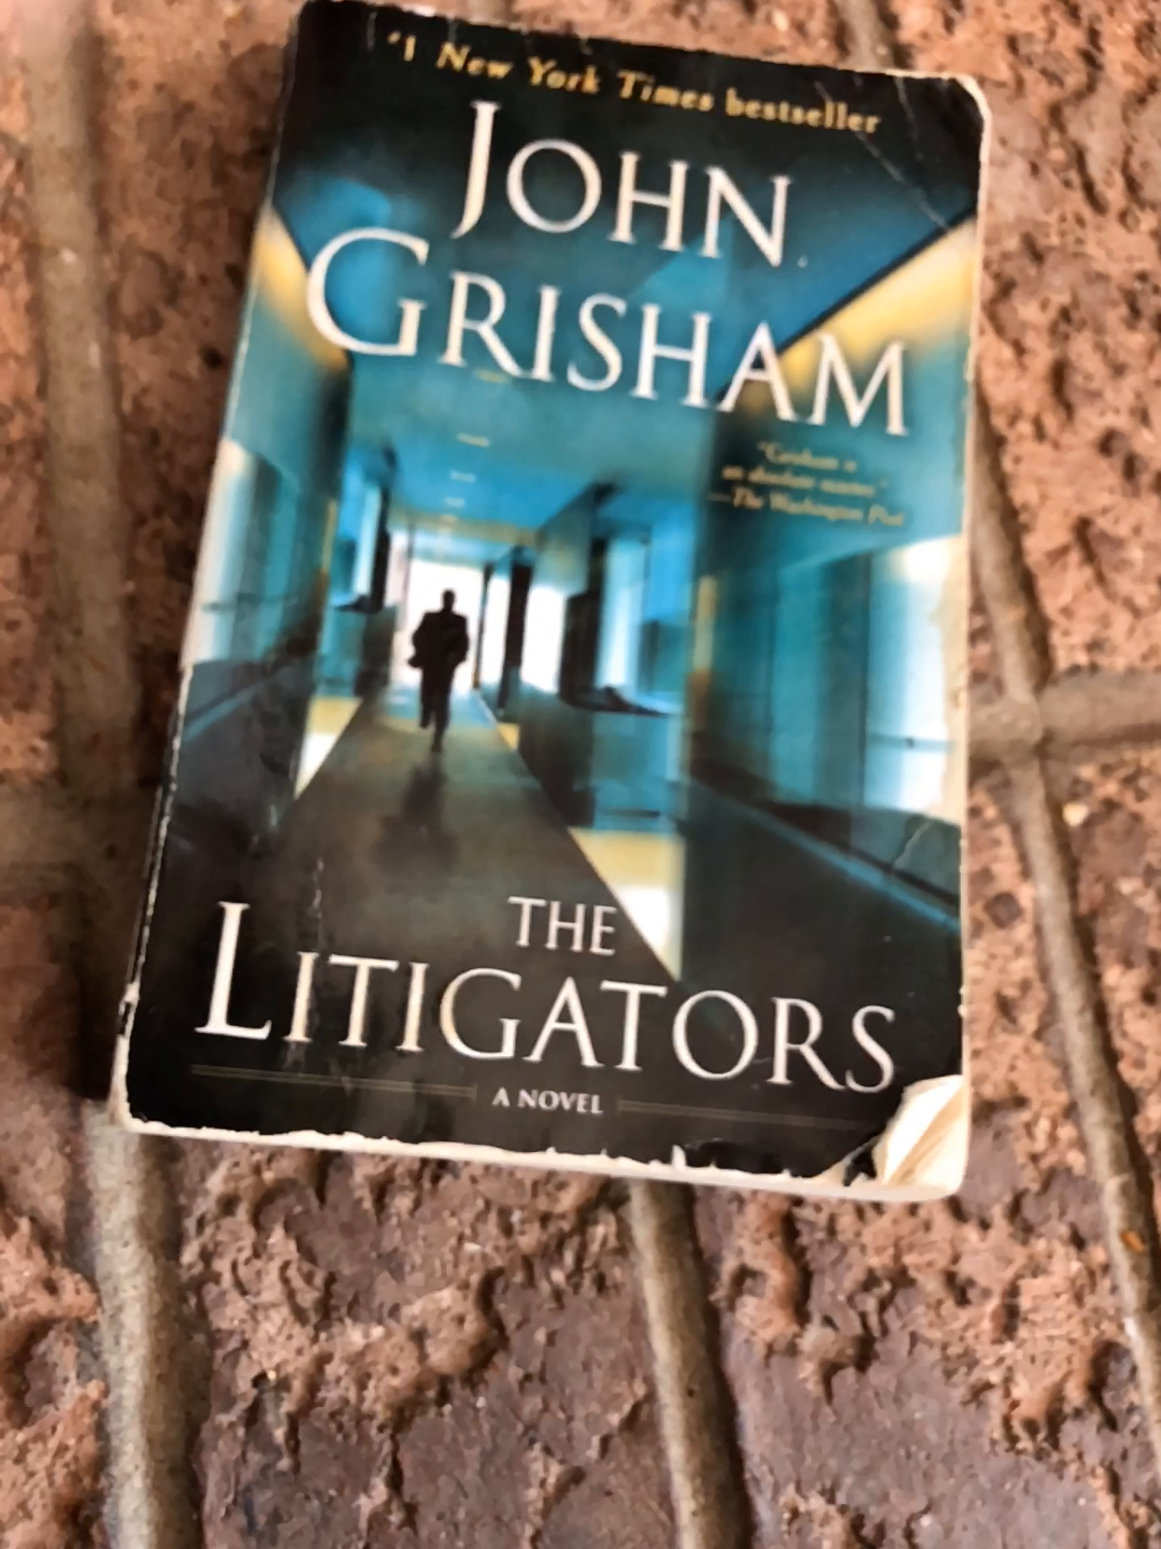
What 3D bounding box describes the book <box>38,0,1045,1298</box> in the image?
[{"bbox_3d":[0.002,-0.027,0.222,0.135,0.033,0.199,8,78,-5],"label":"book"}]
